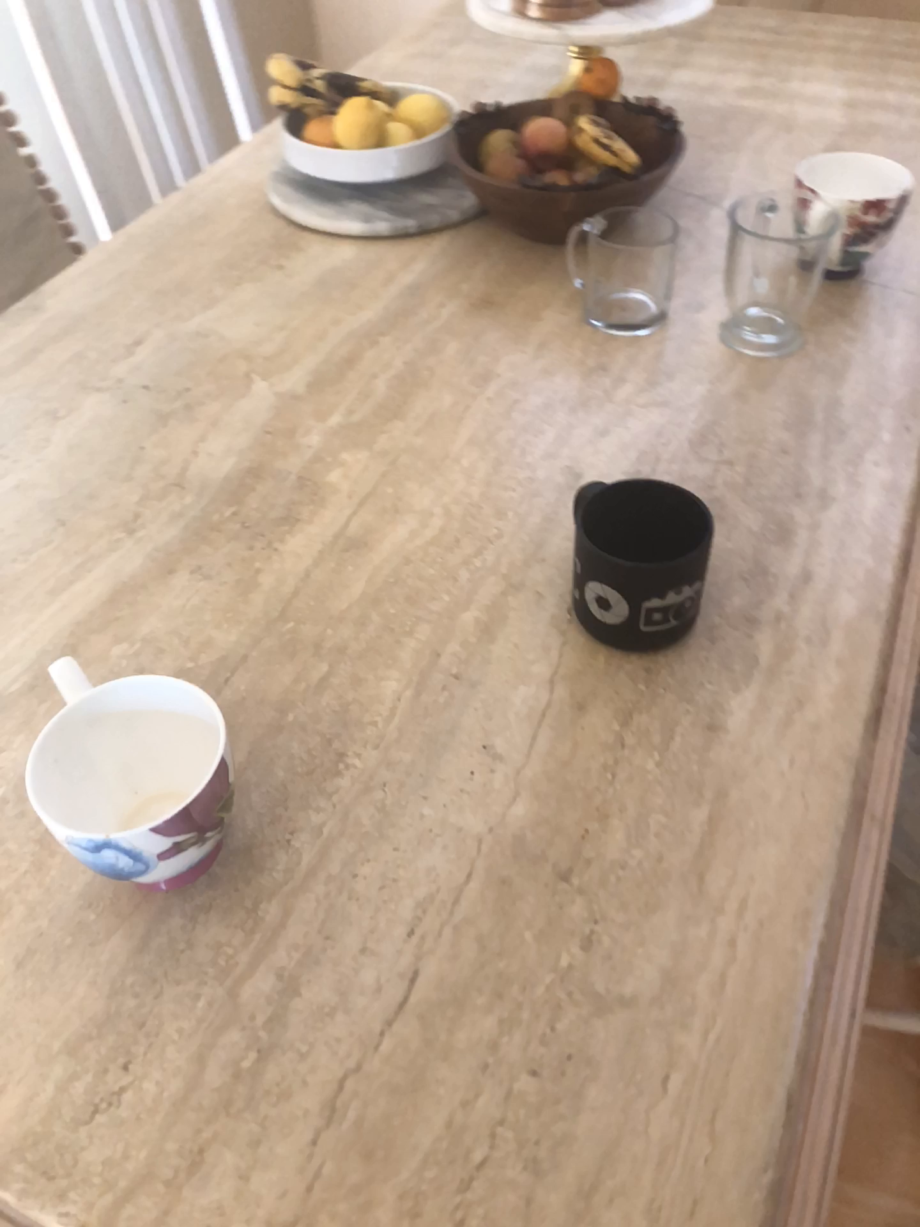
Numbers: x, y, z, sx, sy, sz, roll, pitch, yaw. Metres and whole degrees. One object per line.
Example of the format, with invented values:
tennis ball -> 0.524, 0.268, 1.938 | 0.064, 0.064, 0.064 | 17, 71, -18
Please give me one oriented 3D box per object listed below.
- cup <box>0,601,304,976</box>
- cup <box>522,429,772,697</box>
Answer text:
cup -> -0.186, 0.093, 0.577 | 0.111, 0.089, 0.161 | -32, 52, -25
cup -> 0.124, -0.040, 0.715 | 0.100, 0.089, 0.151 | -21, 48, -16
